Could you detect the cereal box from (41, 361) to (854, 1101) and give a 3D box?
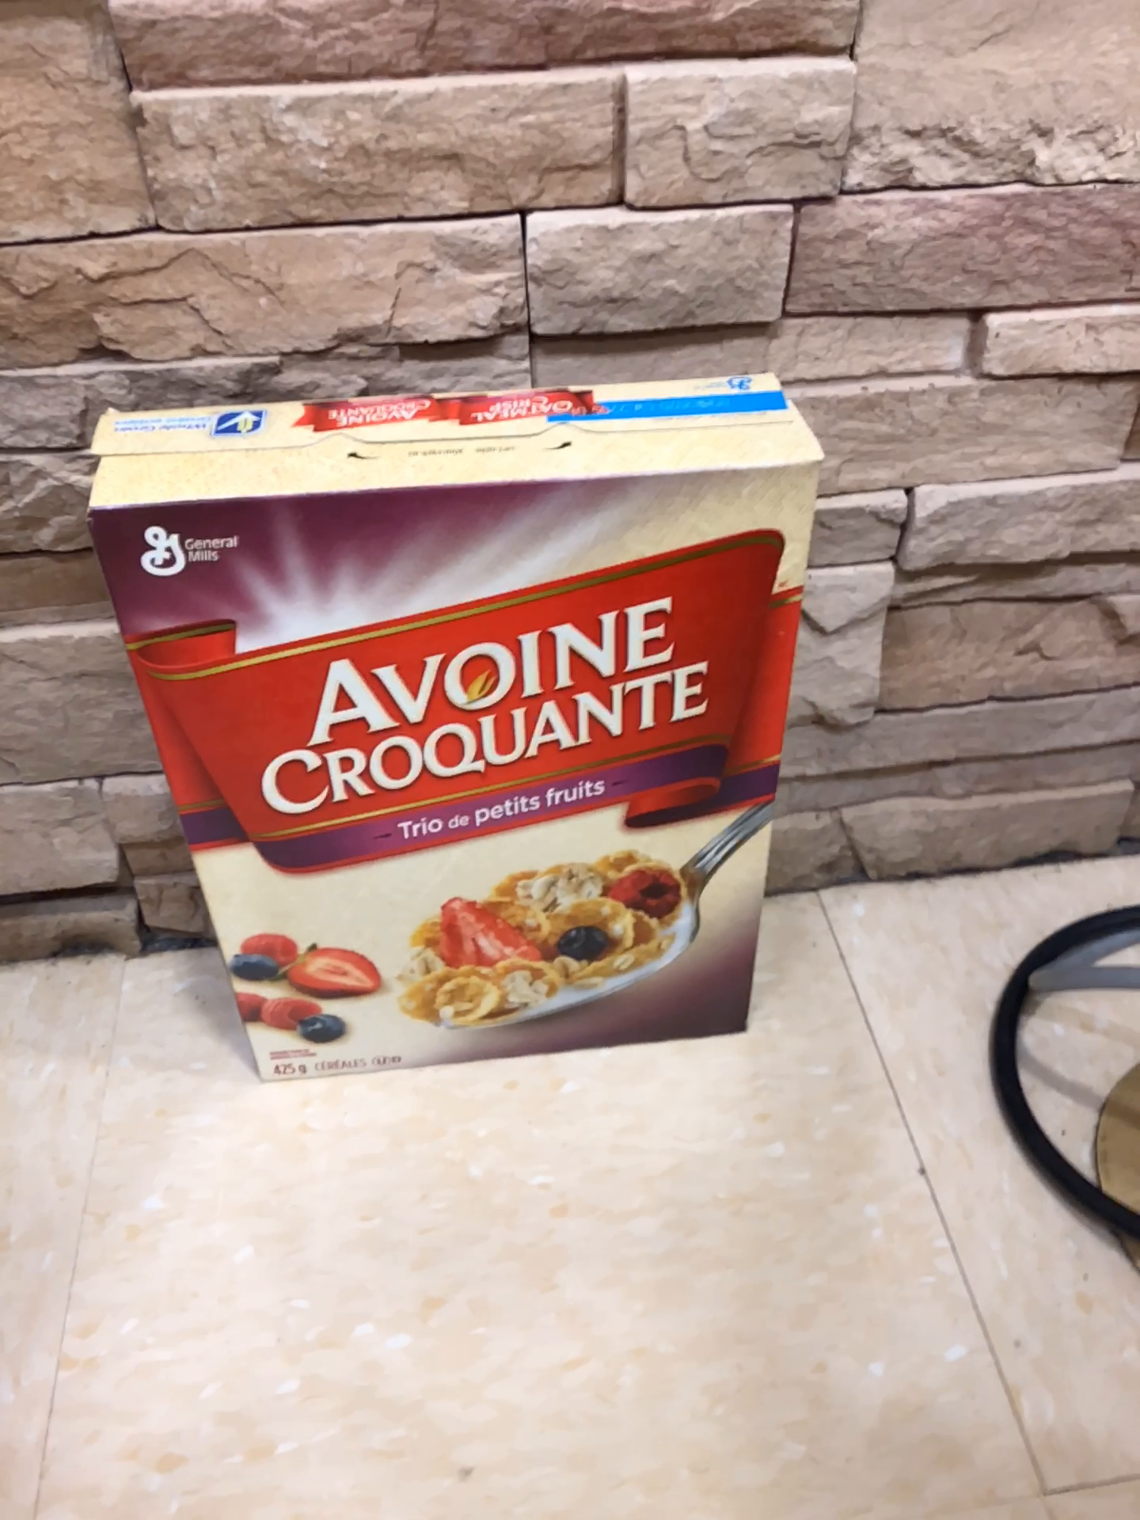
[{"bbox_3d":[-0.030,0.006,0.414,0.200,0.248,0.060,-5,42,-4],"label":"cereal box"}]
